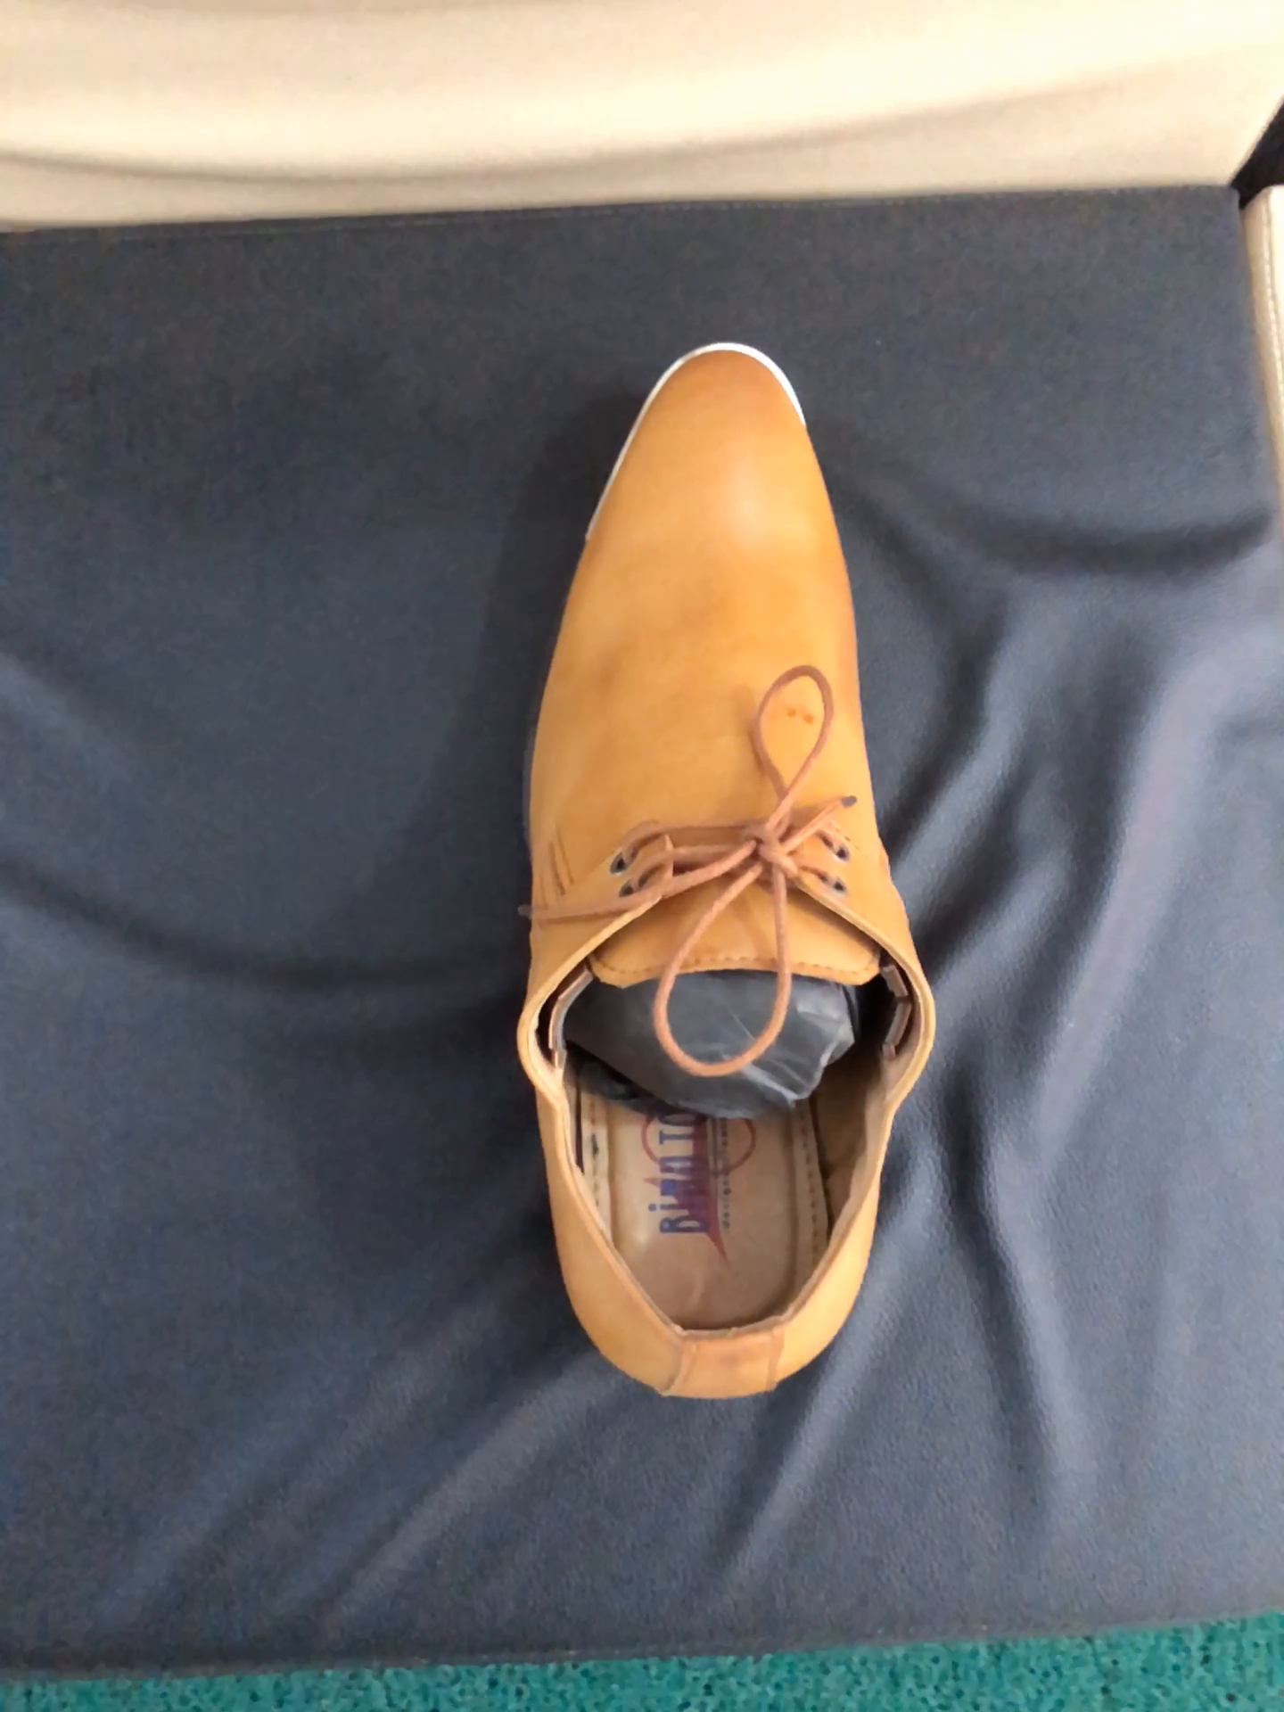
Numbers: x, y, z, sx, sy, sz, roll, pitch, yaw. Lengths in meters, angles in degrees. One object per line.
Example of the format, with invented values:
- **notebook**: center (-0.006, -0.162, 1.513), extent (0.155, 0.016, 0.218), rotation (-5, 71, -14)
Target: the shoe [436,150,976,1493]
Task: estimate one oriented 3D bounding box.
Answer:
- **shoe**: center (0.016, -0.011, 0.364), extent (0.110, 0.100, 0.300), rotation (1, 81, 0)
